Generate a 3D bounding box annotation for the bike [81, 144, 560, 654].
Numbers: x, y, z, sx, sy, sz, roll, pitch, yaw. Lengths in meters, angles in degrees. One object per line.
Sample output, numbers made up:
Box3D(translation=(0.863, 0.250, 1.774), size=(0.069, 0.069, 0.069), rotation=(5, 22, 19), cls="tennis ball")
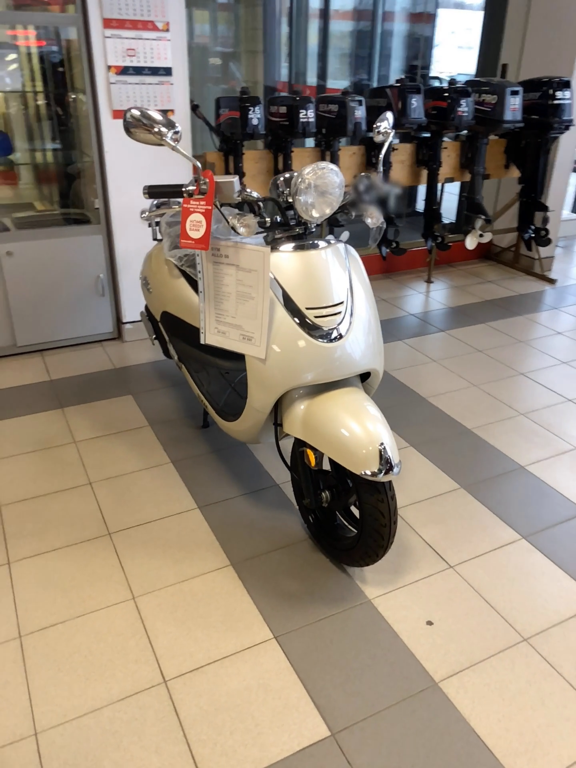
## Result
Box3D(translation=(-0.094, -0.184, 2.234), size=(0.805, 0.963, 1.688), rotation=(-11, 32, -24), cls="bike")
